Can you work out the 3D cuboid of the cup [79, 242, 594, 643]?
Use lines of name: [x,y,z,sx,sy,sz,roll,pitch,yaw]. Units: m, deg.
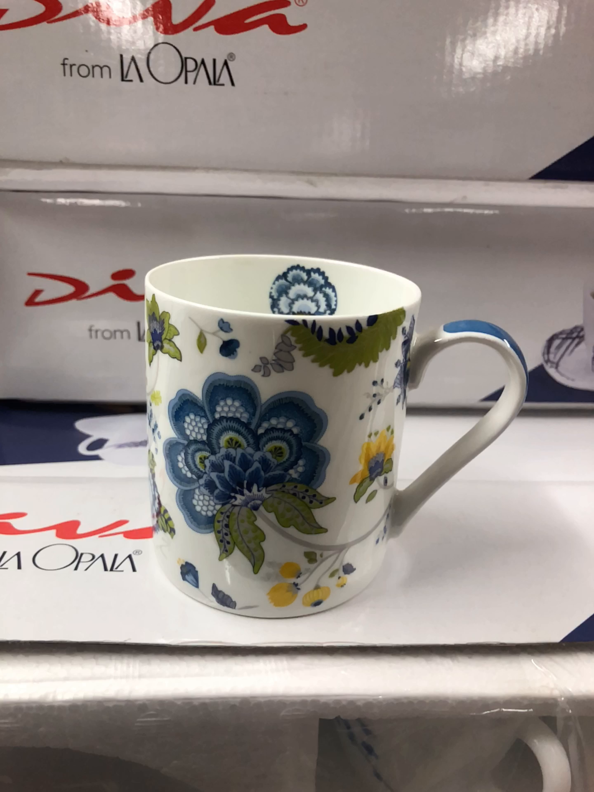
cup: [0.009,0.007,0.188,0.110,0.080,0.080,3,23,-1]
